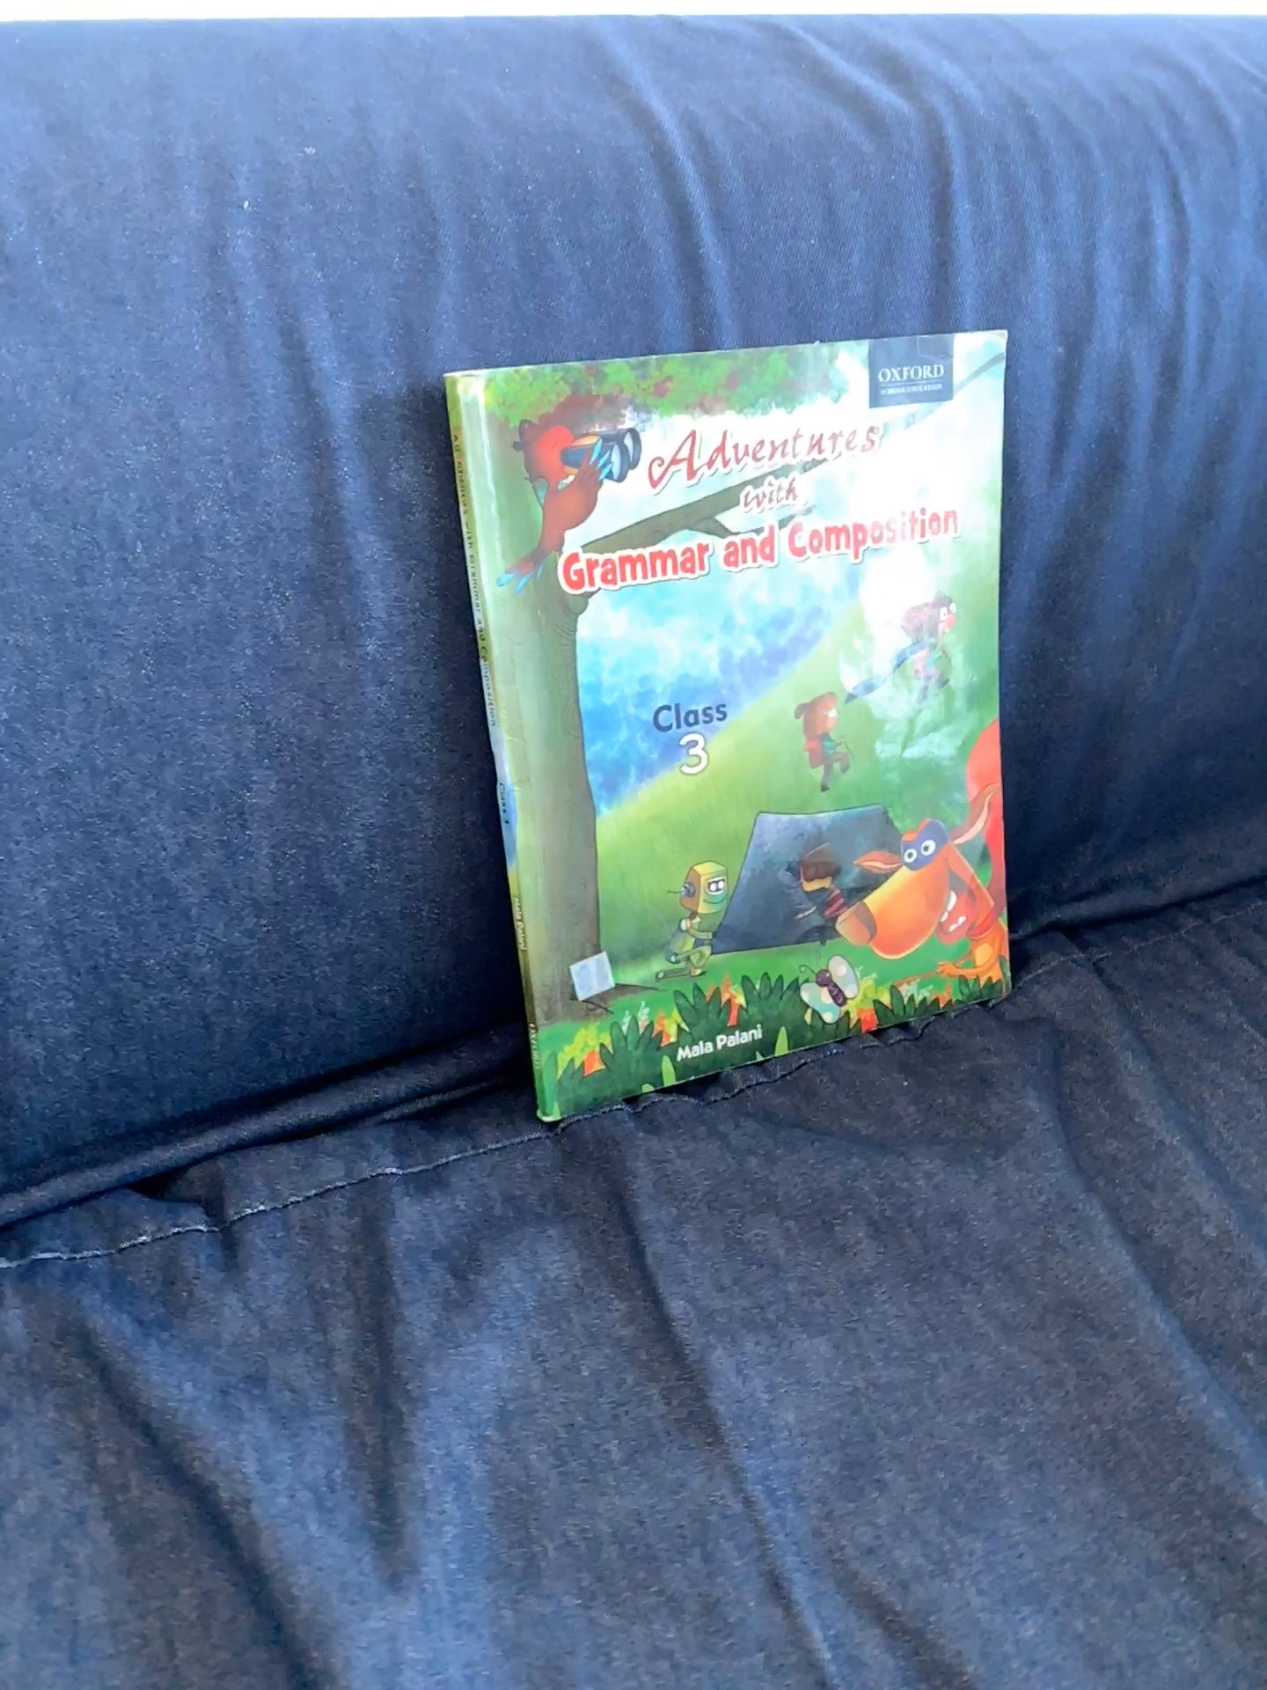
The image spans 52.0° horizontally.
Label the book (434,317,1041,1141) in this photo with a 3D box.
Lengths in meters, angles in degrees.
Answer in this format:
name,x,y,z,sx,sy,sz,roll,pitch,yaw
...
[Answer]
name,x,y,z,sx,sy,sz,roll,pitch,yaw
book,0.051,-0.043,0.481,0.212,0.269,0.030,-11,19,-18
